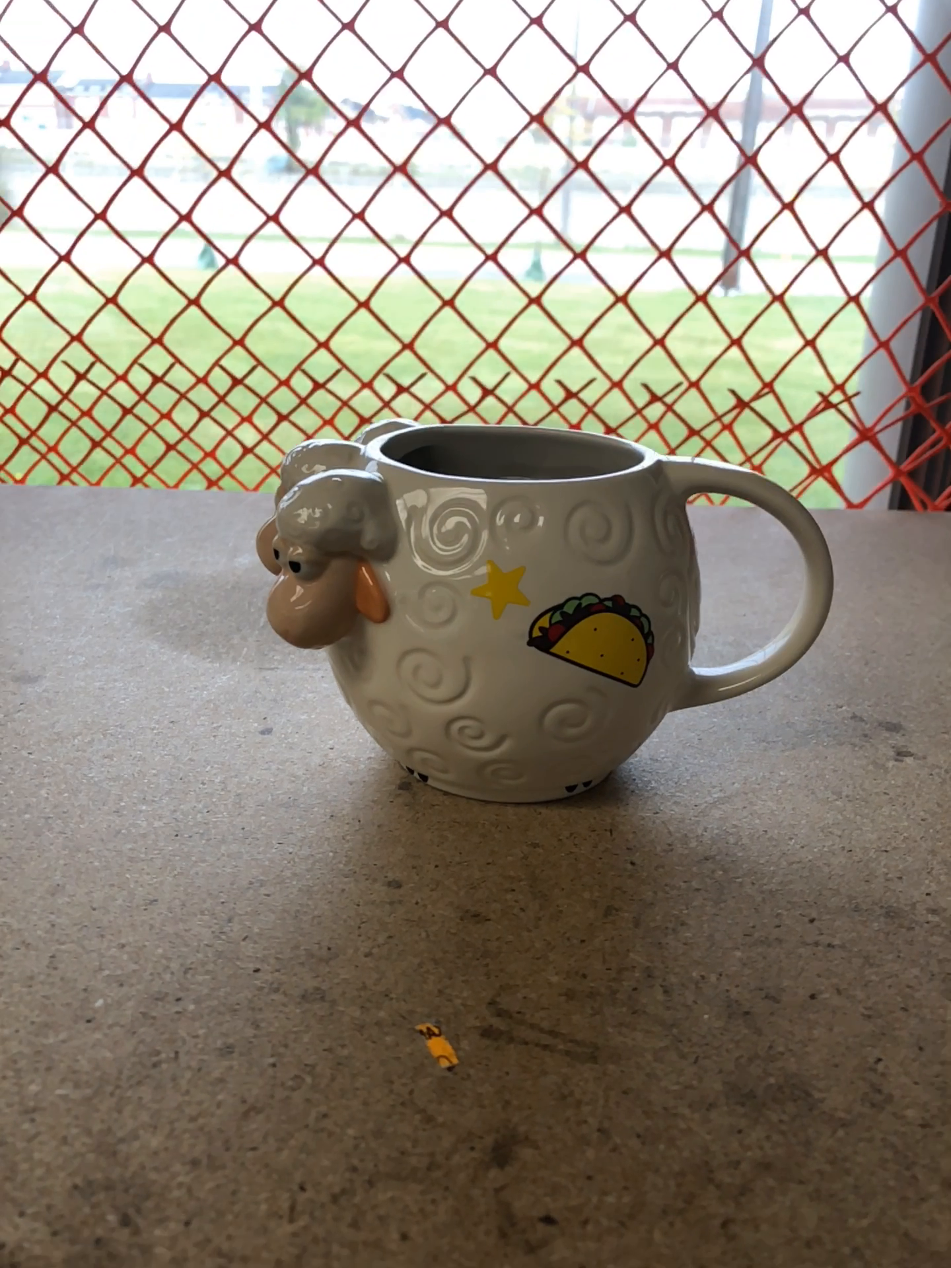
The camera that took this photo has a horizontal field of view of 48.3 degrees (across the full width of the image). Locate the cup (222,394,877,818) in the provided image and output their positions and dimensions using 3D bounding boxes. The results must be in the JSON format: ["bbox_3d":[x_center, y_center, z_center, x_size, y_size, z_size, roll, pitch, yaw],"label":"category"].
[{"bbox_3d":[0.016,-0.012,0.289,0.146,0.090,0.076,2,22,1],"label":"cup"}]
